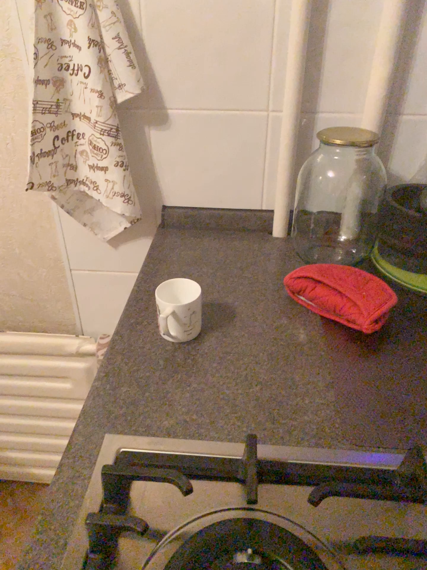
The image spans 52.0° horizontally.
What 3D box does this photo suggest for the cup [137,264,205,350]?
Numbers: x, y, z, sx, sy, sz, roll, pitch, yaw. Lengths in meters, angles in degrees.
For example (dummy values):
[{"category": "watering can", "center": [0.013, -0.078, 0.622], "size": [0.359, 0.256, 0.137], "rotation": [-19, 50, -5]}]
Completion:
[{"category": "cup", "center": [-0.049, 0.025, 0.545], "size": [0.064, 0.061, 0.090], "rotation": [4, 33, 6]}]
